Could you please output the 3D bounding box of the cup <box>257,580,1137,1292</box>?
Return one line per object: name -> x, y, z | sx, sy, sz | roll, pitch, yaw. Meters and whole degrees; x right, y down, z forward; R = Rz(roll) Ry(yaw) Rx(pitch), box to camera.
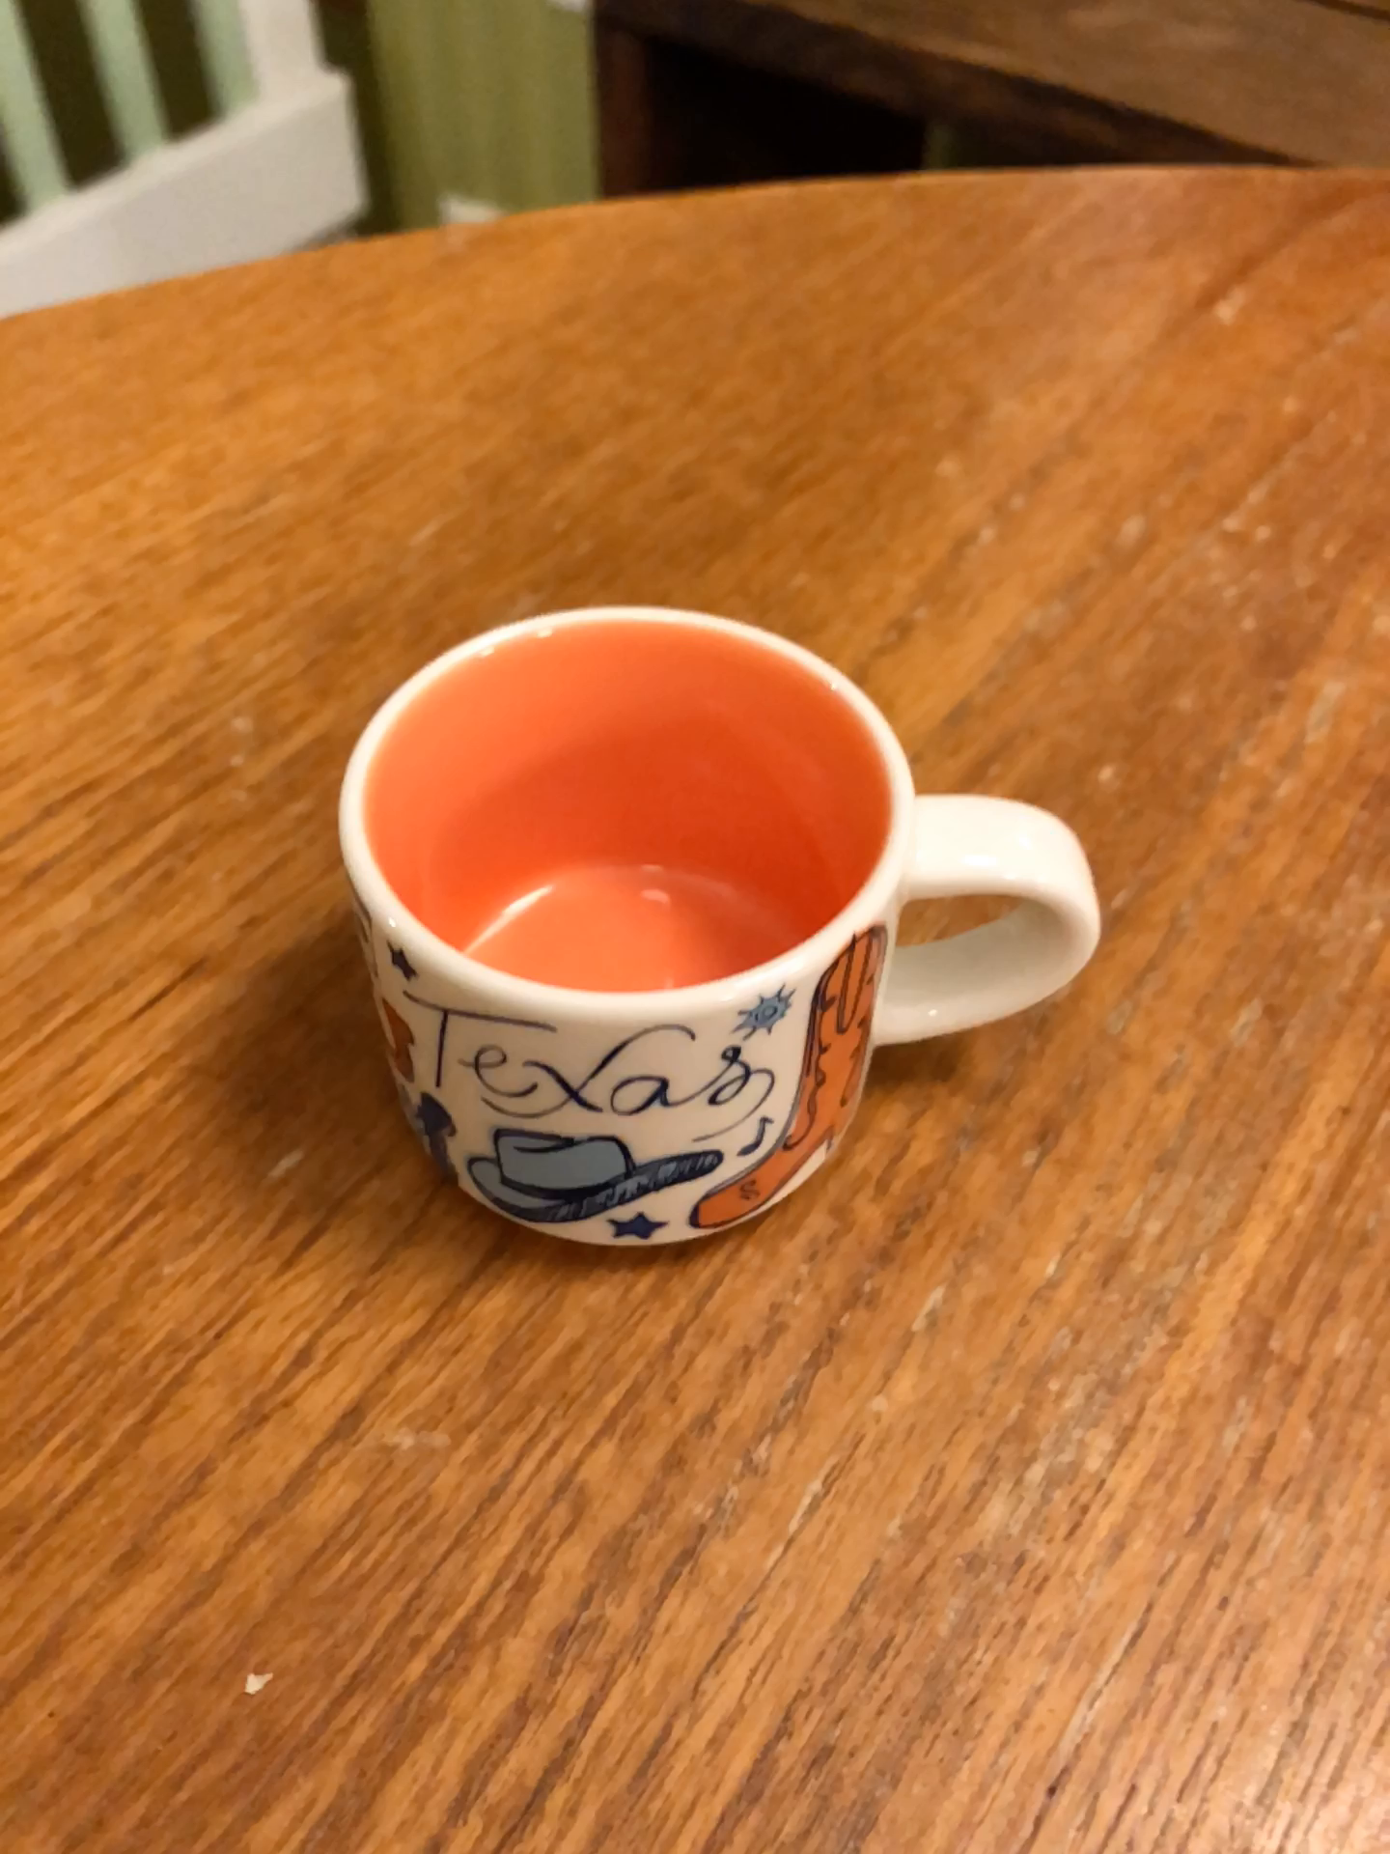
cup -> 0.000, 0.000, 0.174 | 0.076, 0.046, 0.064 | 0, 50, -1
